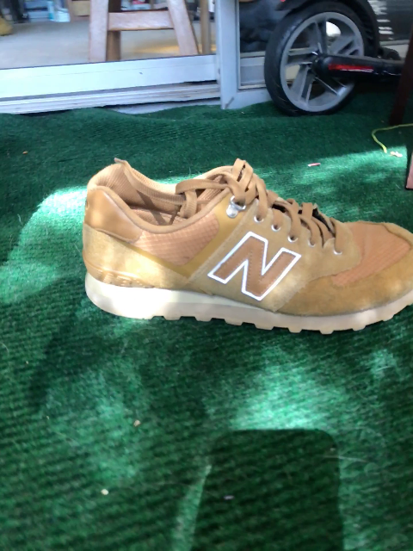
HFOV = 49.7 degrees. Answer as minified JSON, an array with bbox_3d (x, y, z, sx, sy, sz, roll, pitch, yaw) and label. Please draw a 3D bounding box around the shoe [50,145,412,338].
[{"bbox_3d":[0.040,-0.029,0.334,0.260,0.099,0.111,-1,31,2],"label":"shoe"}]
